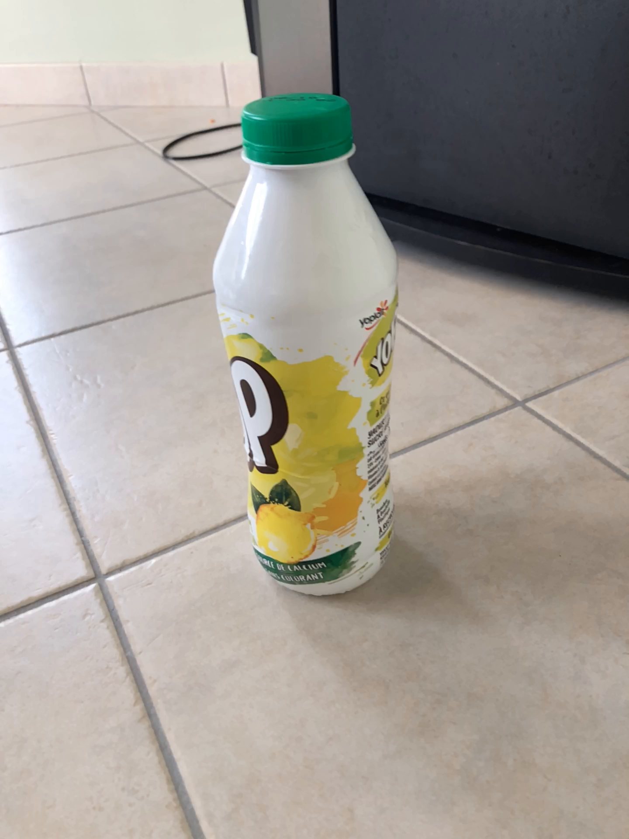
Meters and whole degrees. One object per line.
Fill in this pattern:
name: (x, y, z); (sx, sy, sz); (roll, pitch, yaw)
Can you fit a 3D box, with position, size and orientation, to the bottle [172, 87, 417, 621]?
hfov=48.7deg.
bottle: (-0.004, -0.019, 0.323); (0.080, 0.229, 0.080); (-3, 35, 2)
